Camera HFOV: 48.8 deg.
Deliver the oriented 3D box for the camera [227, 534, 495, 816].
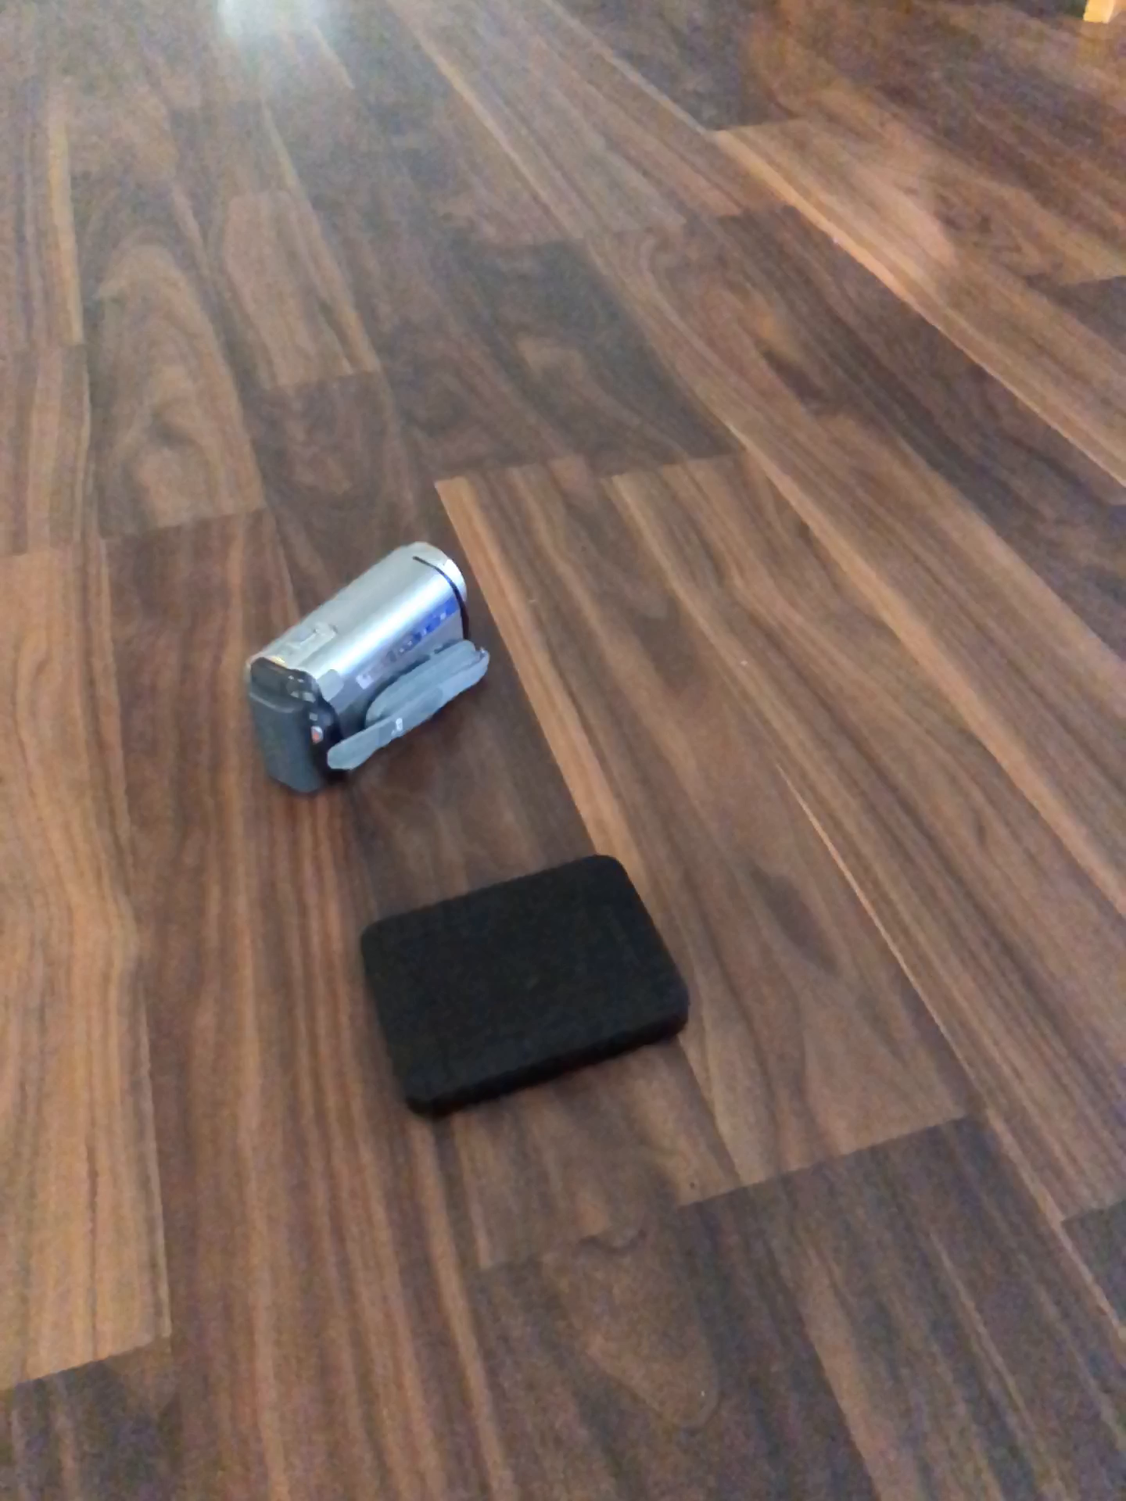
[{"bbox_3d":[-0.087,-0.037,0.565,0.048,0.065,0.115,25,50,26],"label":"camera"}]
